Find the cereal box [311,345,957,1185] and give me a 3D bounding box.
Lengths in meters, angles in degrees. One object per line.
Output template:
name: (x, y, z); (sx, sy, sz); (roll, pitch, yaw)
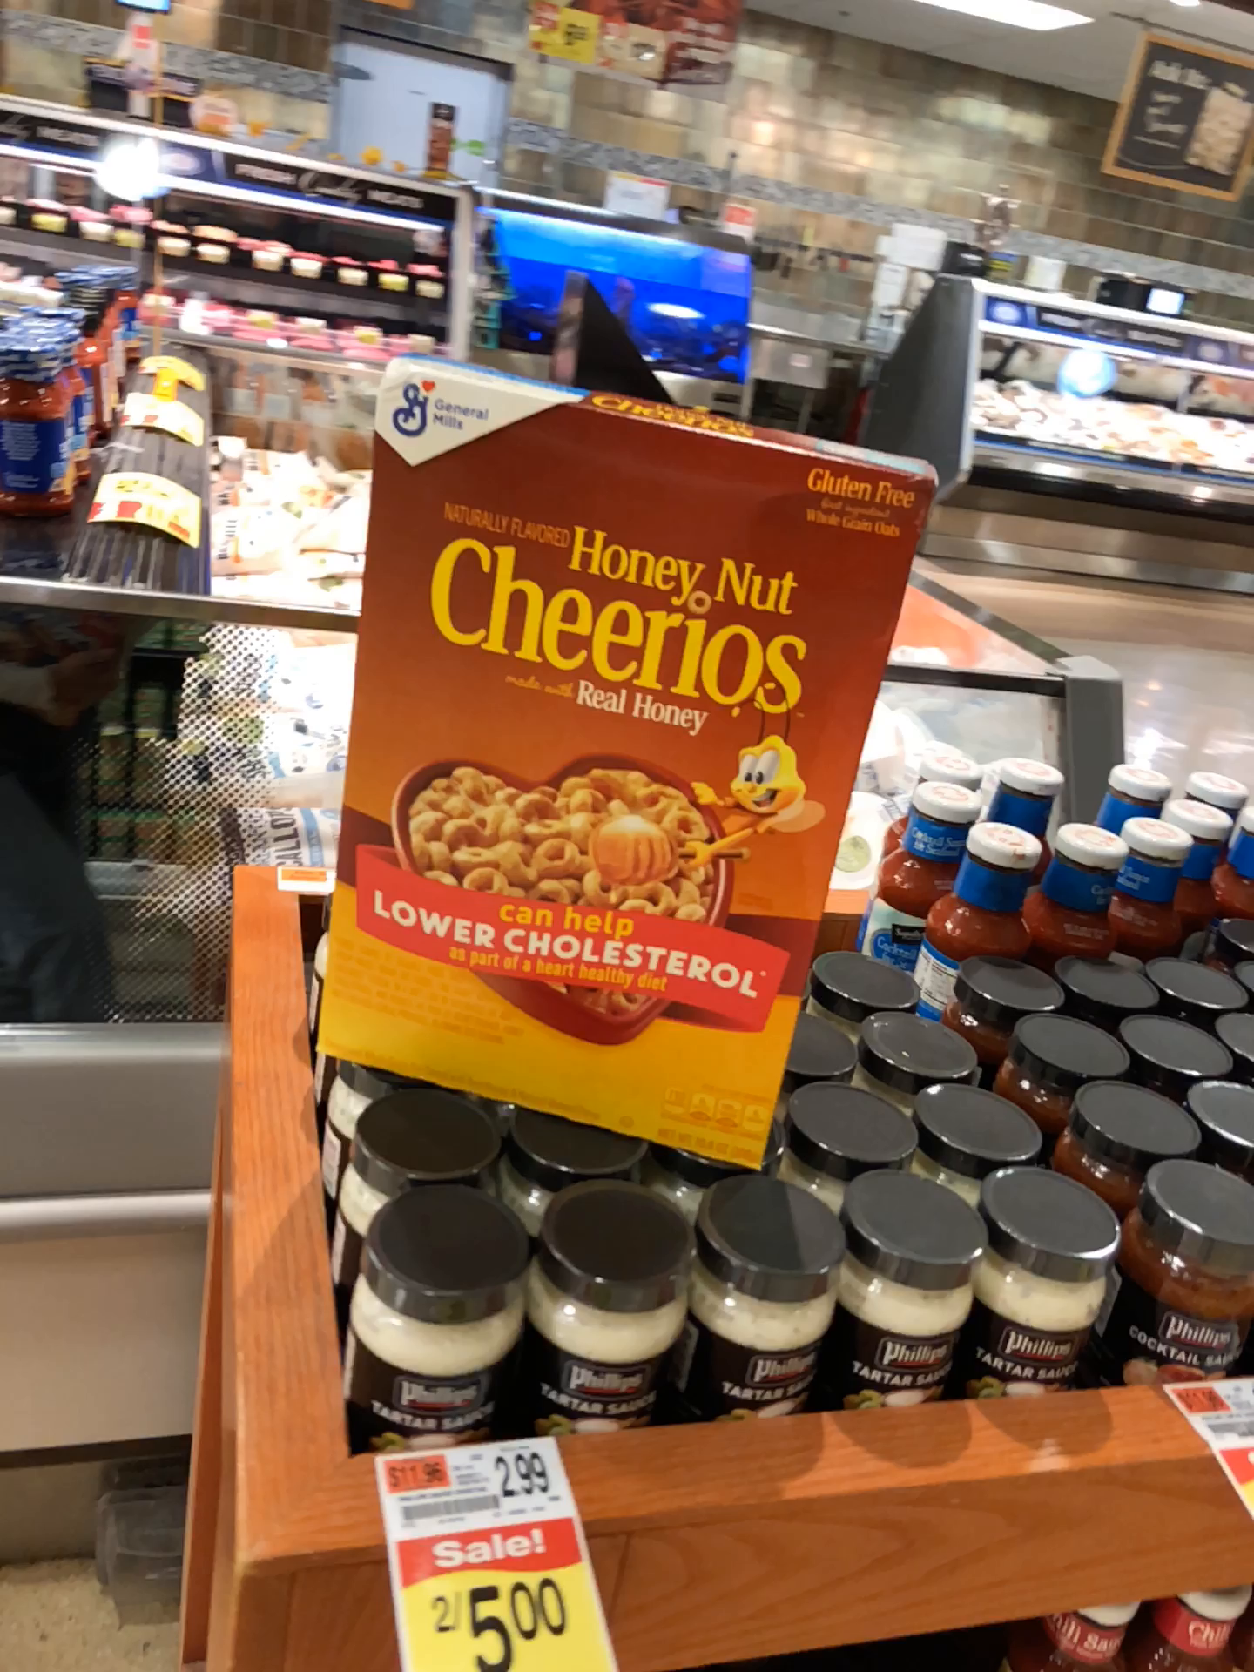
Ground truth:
cereal box: (-0.008, -0.022, 0.536); (0.200, 0.288, 0.050); (13, 22, 7)
